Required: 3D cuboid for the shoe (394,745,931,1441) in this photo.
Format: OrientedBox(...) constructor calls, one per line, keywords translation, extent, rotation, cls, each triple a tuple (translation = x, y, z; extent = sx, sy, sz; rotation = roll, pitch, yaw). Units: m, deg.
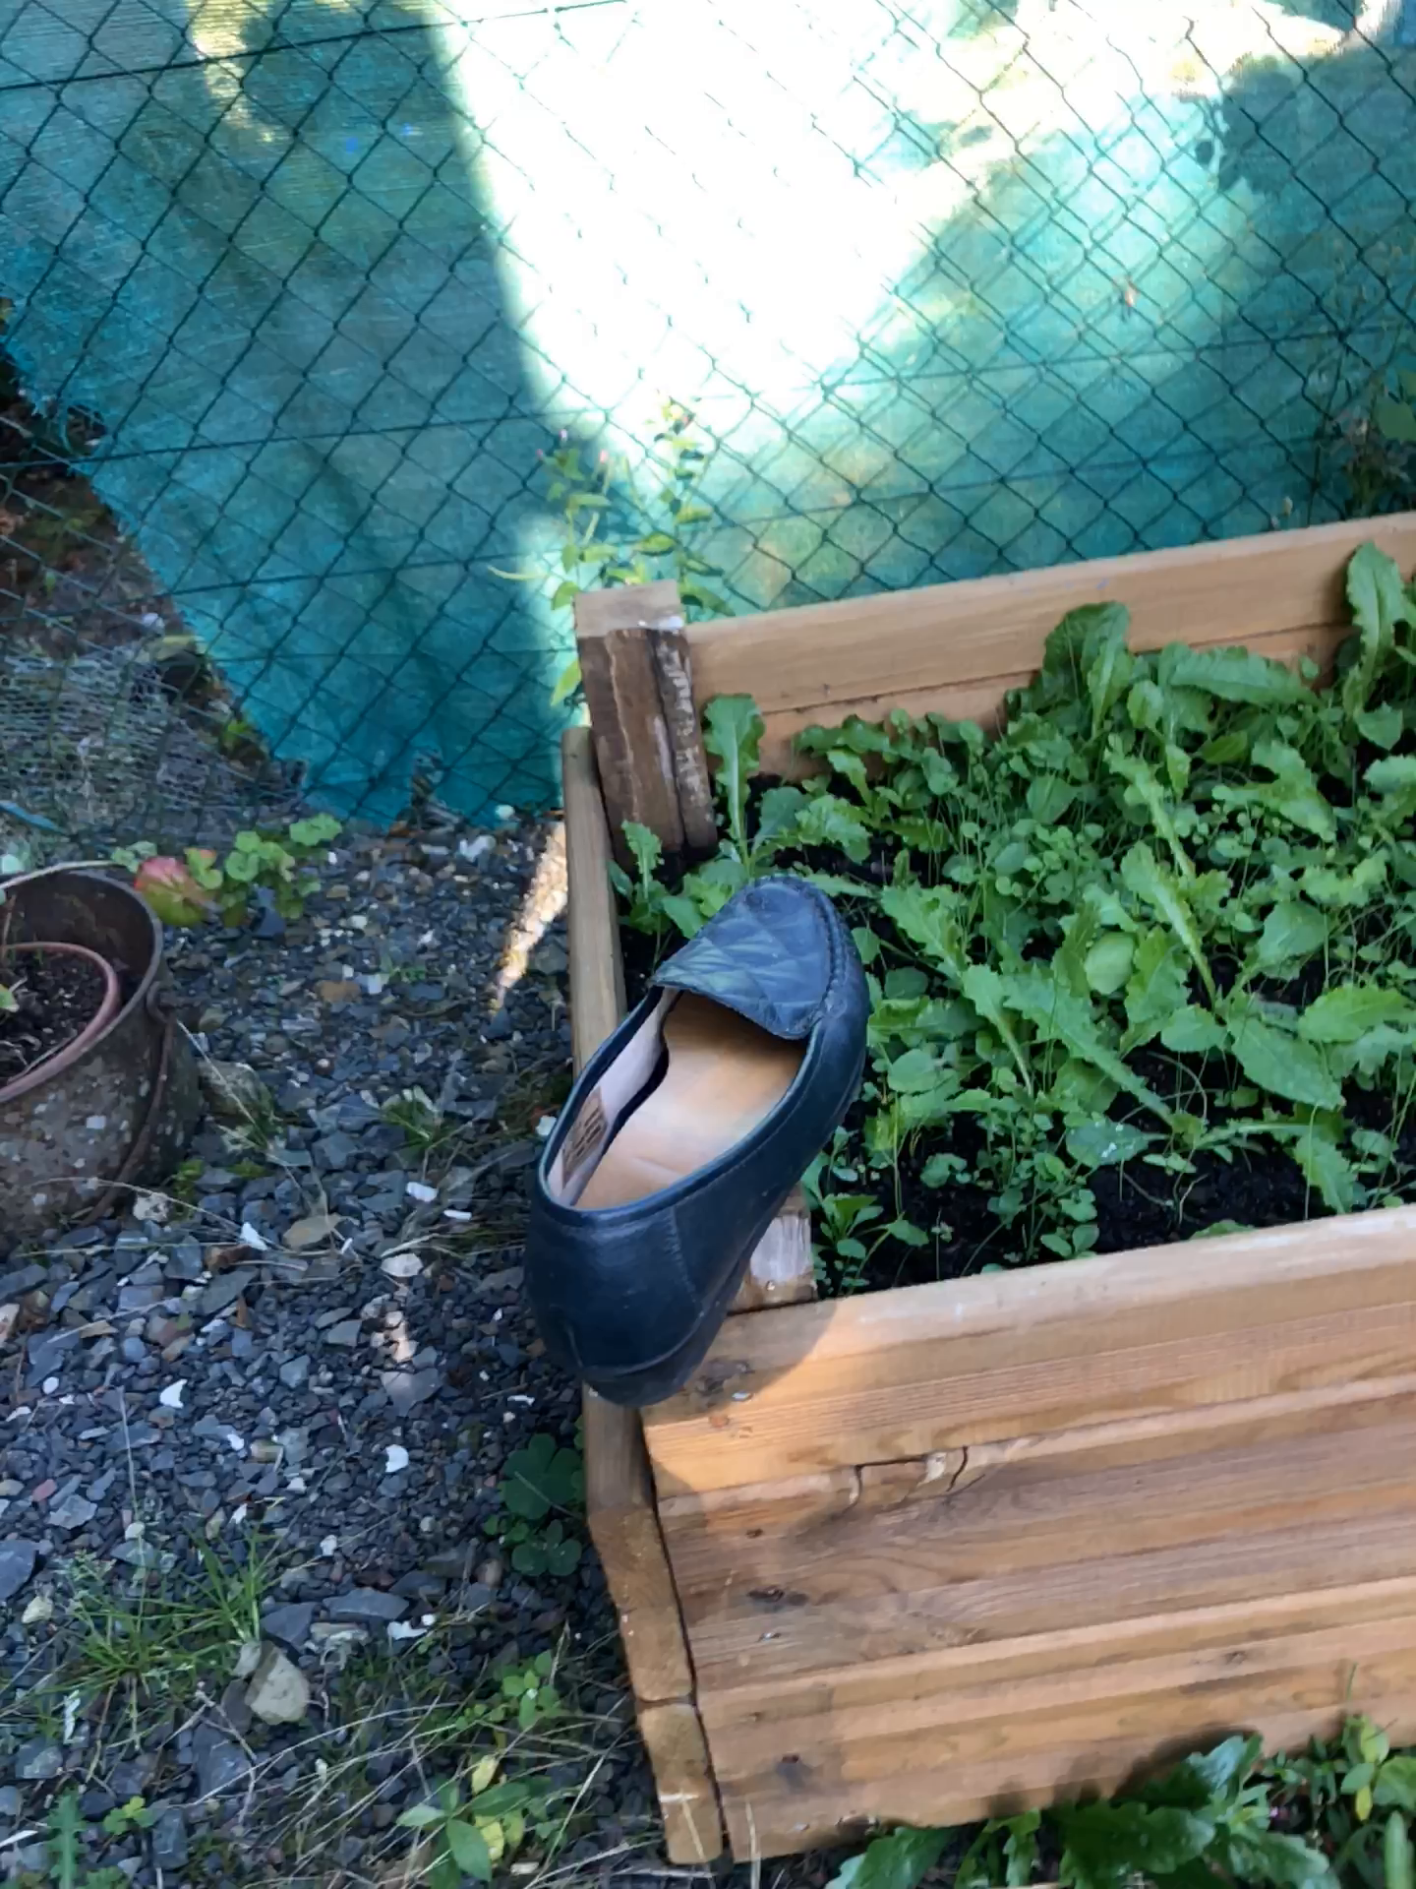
OrientedBox(translation=(0.000, 0.038, 0.584), extent=(0.100, 0.089, 0.262), rotation=(8, 42, 21), cls="shoe")
